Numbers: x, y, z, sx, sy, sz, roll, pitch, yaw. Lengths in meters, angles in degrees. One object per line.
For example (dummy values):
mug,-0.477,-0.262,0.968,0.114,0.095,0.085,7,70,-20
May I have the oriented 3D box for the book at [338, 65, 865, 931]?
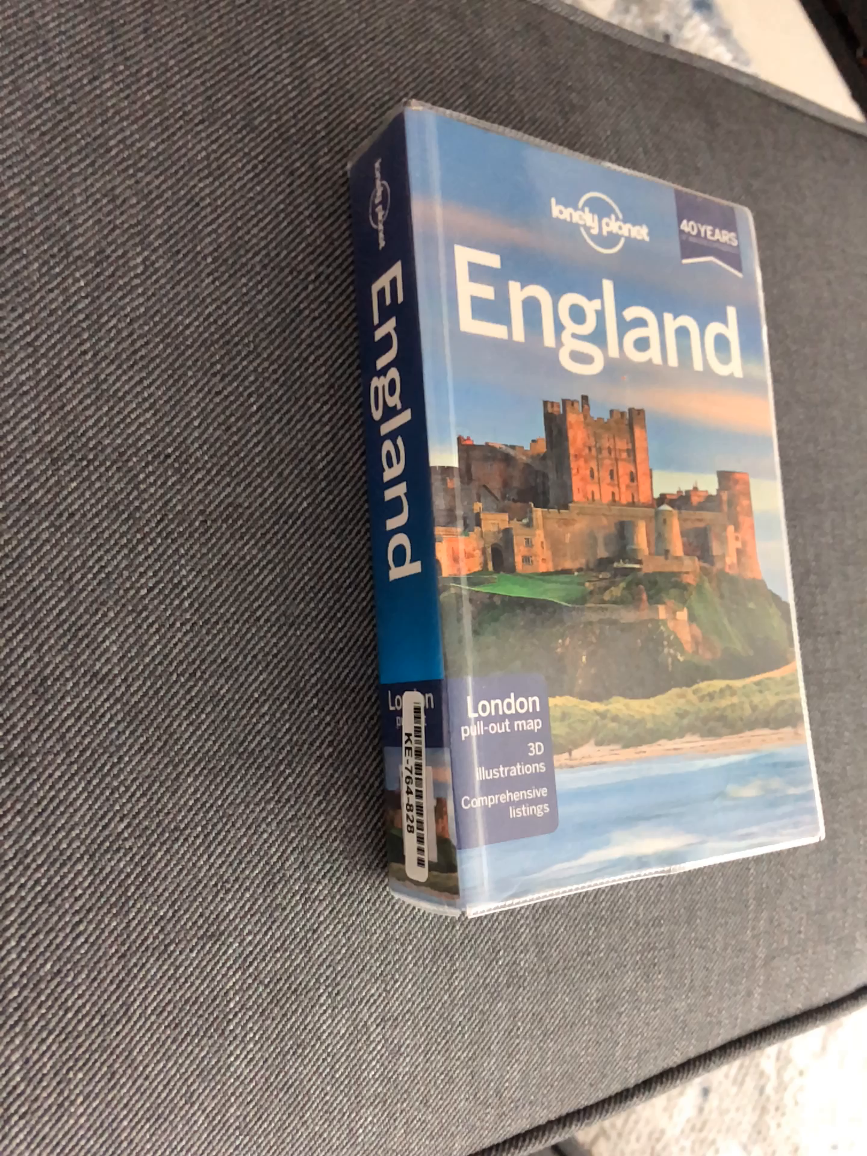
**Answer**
book,0.048,-0.020,0.271,0.136,0.040,0.200,1,81,-31
